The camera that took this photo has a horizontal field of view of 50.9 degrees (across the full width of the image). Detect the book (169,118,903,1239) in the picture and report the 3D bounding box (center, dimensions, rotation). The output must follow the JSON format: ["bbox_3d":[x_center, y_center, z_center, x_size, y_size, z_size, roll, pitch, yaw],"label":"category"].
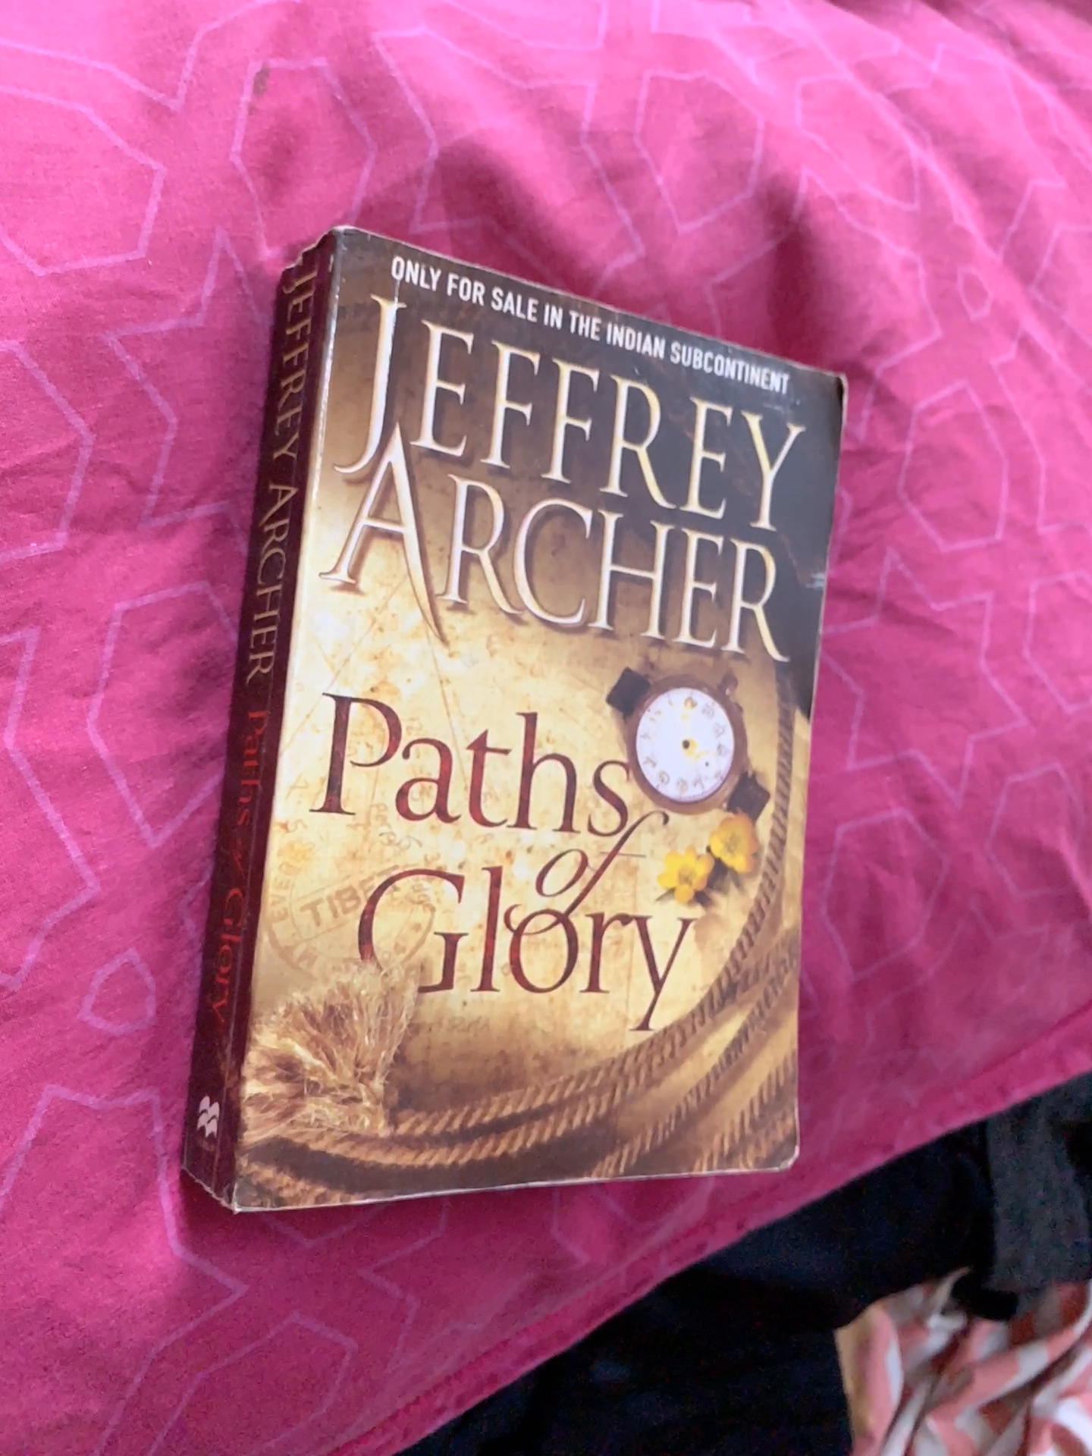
[{"bbox_3d":[0.002,-0.003,0.224,0.120,0.040,0.180,8,84,-23],"label":"book"}]
